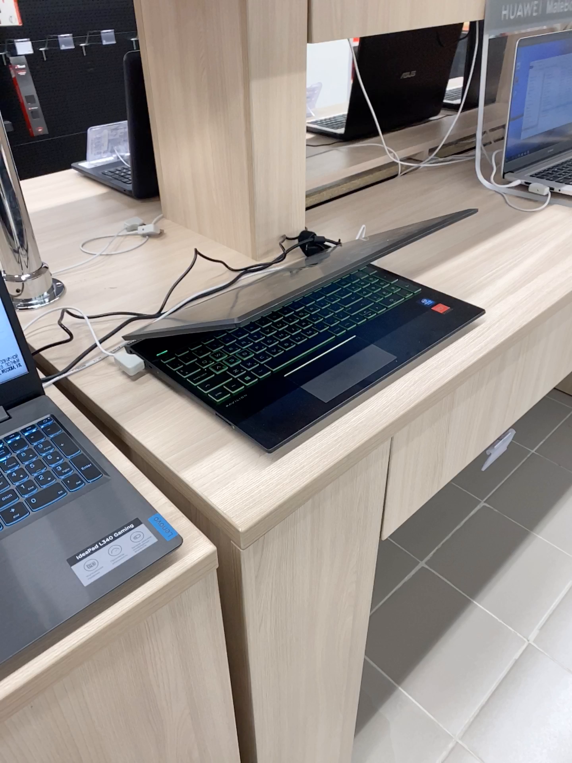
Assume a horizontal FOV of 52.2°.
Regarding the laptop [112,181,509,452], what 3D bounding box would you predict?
[{"bbox_3d":[0.038,-0.106,0.655,0.365,0.108,0.235,-29,45,-34],"label":"laptop"}]
